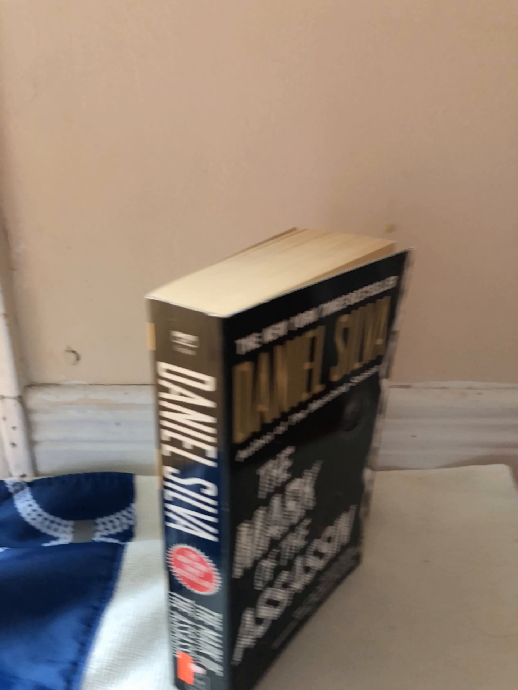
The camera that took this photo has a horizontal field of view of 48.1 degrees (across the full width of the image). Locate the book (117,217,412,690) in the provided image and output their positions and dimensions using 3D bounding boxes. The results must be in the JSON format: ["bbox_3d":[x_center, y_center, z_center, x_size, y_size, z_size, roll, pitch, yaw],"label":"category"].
[{"bbox_3d":[0.010,0.044,0.241,0.045,0.169,0.119,16,28,32],"label":"book"}]
